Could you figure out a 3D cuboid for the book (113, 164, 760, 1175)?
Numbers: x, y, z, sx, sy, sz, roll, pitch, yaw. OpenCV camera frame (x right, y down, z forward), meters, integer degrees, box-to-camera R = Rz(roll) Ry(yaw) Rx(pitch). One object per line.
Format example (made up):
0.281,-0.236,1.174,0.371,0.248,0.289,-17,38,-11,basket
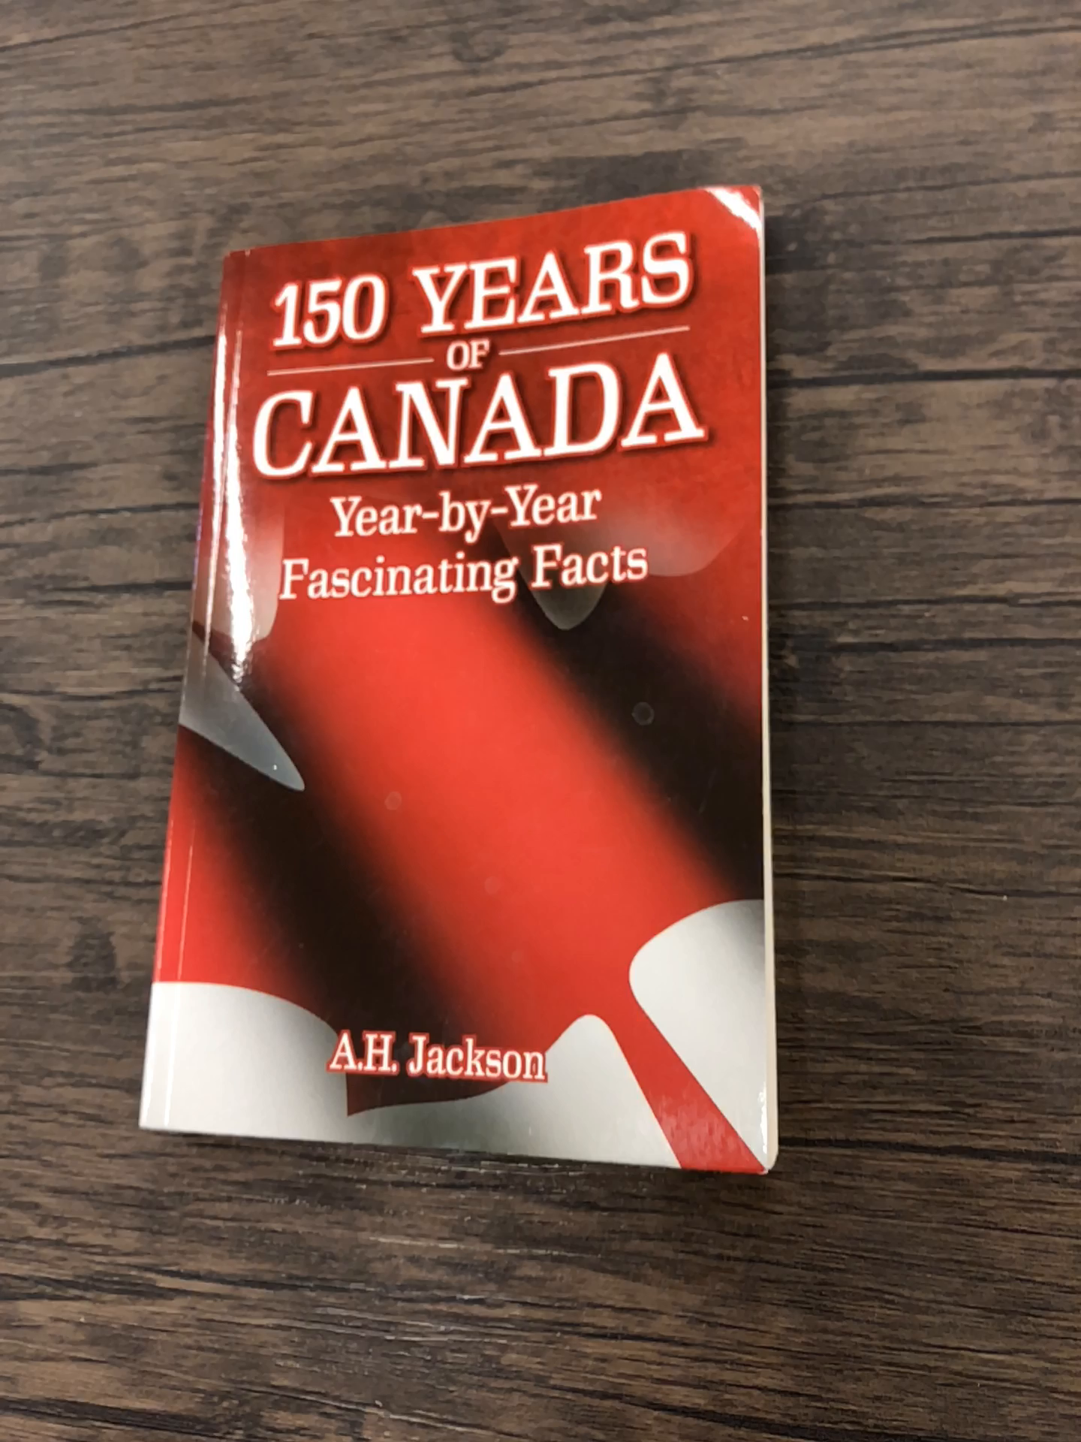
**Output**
-0.020,-0.014,0.269,0.130,0.025,0.206,-3,75,18,book
